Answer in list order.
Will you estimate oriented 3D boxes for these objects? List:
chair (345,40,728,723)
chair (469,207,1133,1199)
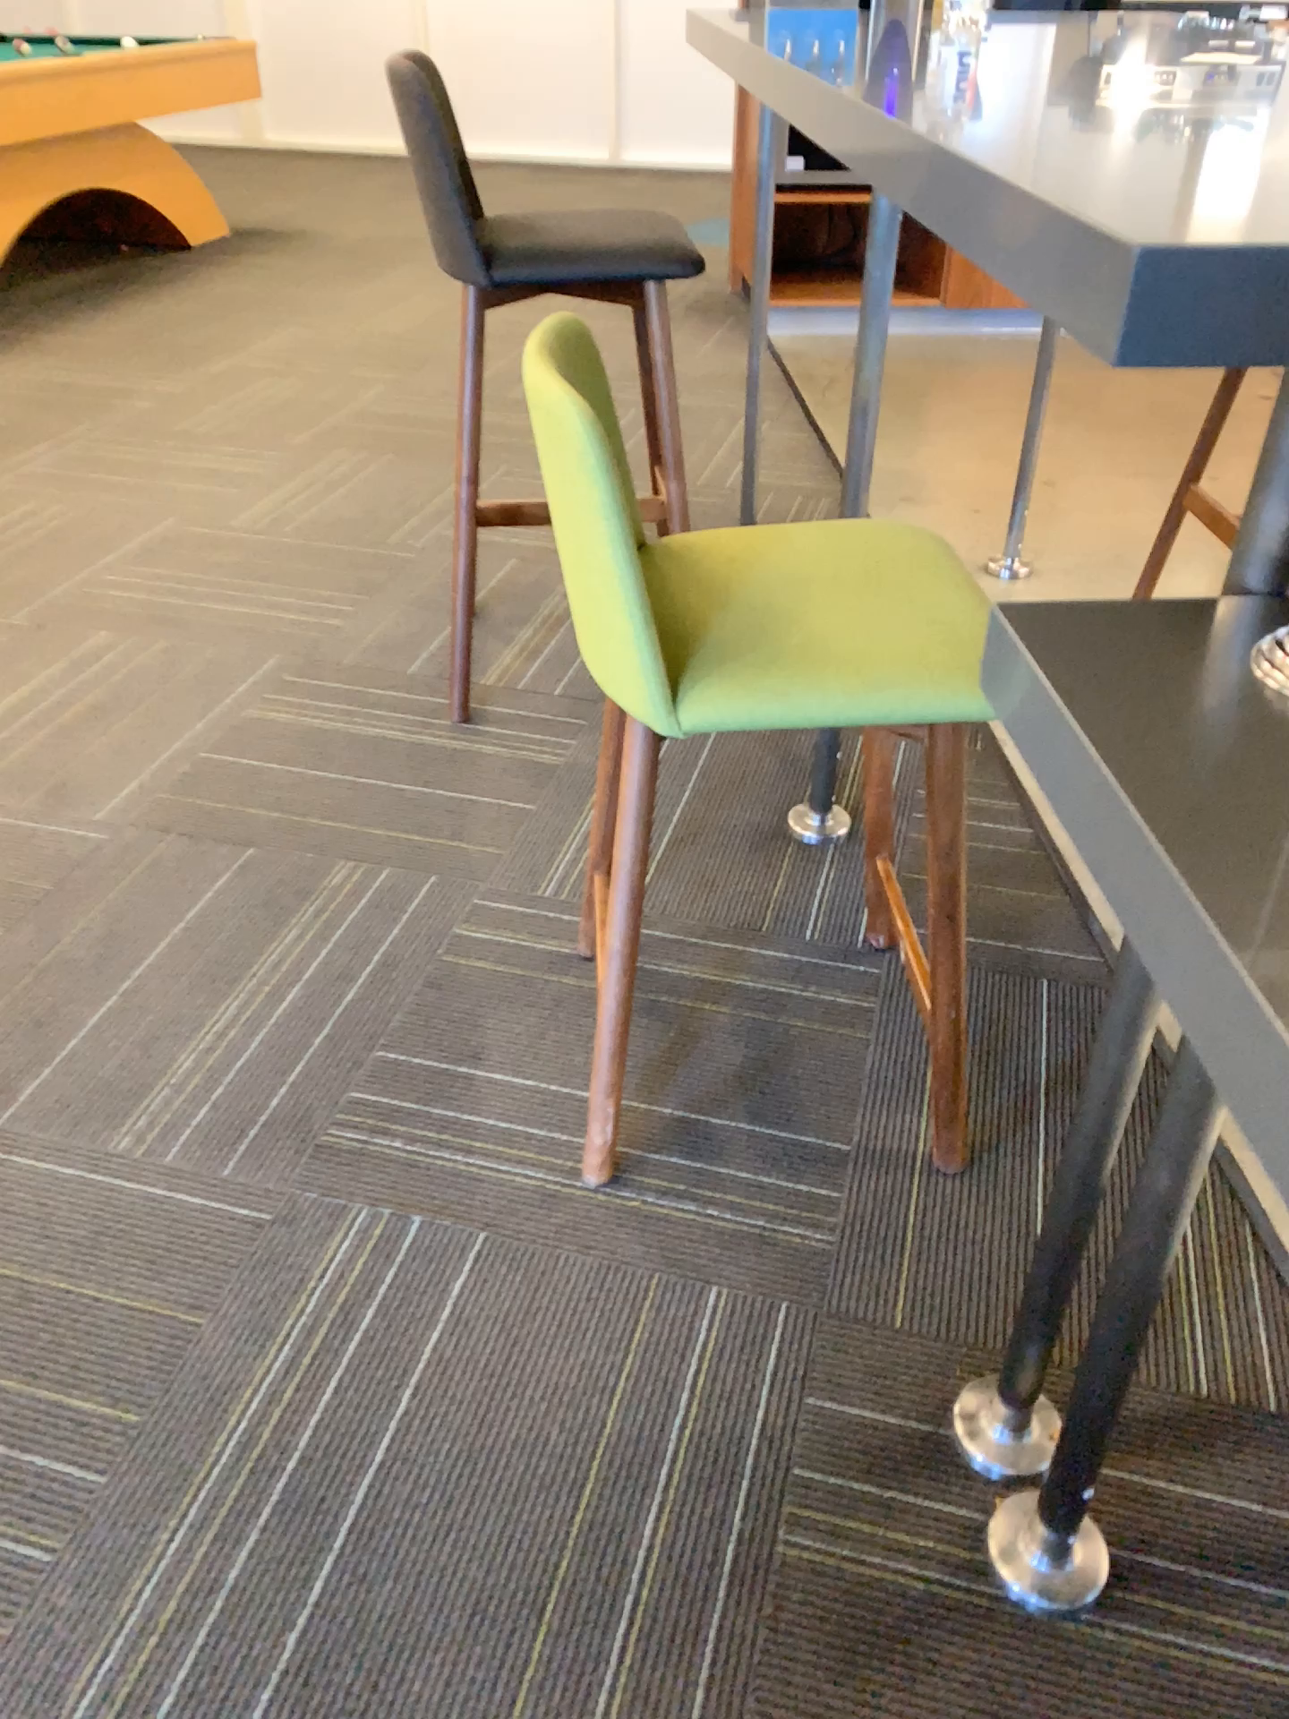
[{"bbox_3d":[-0.154,-0.889,2.374,0.500,0.944,0.855,-4,35,-1],"label":"chair"},{"bbox_3d":[0.125,-0.170,1.436,0.480,0.874,0.594,-3,35,0],"label":"chair"}]
